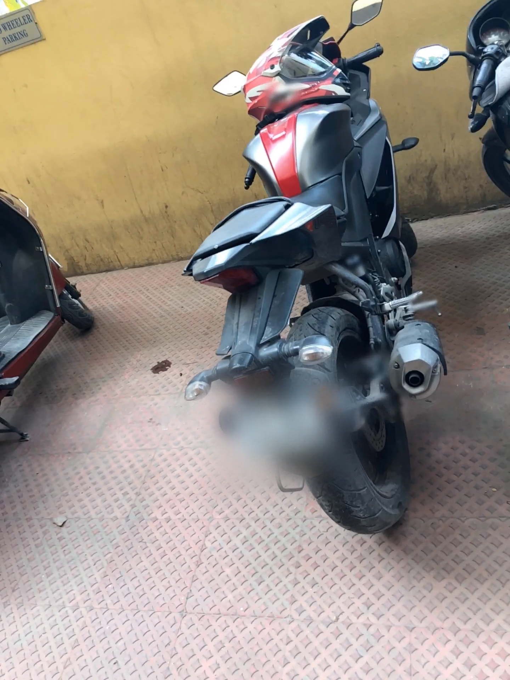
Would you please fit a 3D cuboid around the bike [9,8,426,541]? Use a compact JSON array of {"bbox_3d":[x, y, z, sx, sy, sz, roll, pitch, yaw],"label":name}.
[{"bbox_3d":[-0.011,-0.379,1.934,0.725,0.870,1.754,-11,38,13],"label":"bike"}]
